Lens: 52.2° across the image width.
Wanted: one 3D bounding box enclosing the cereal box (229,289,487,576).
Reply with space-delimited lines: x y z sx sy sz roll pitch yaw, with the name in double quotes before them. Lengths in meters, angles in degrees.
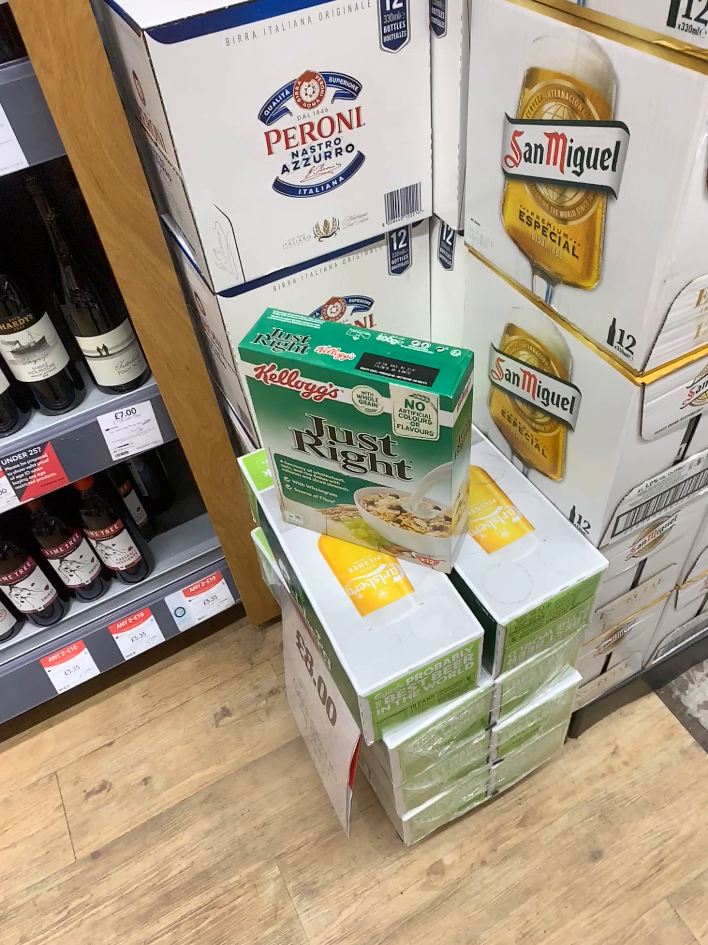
"cereal box" 0.013 -0.029 0.652 0.190 0.238 0.070 16 53 20
